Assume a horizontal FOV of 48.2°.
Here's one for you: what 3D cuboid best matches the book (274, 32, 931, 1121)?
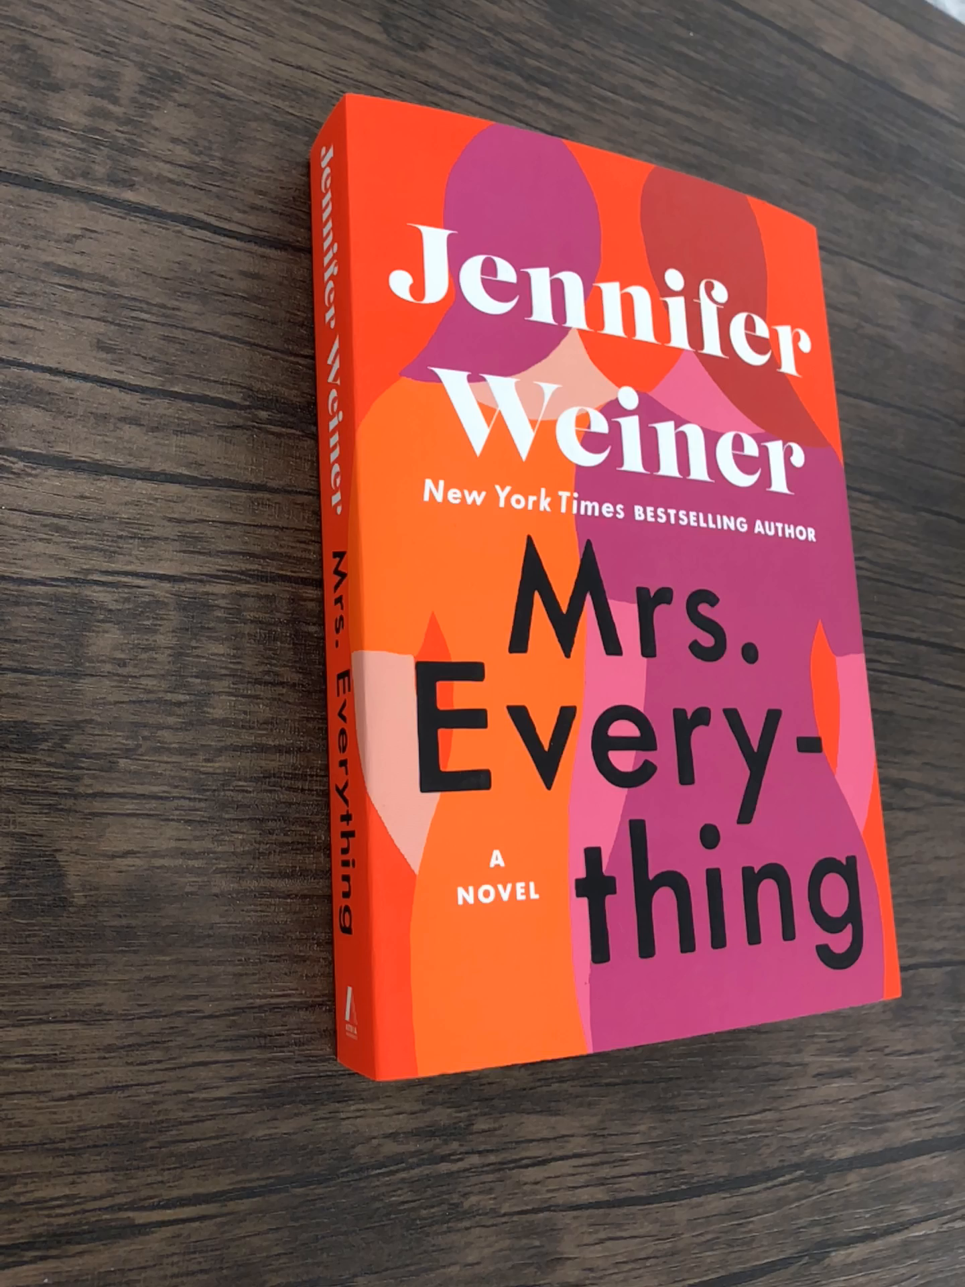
[{"bbox_3d":[0.032,-0.016,0.283,0.162,0.046,0.232,3,80,-29],"label":"book"}]
